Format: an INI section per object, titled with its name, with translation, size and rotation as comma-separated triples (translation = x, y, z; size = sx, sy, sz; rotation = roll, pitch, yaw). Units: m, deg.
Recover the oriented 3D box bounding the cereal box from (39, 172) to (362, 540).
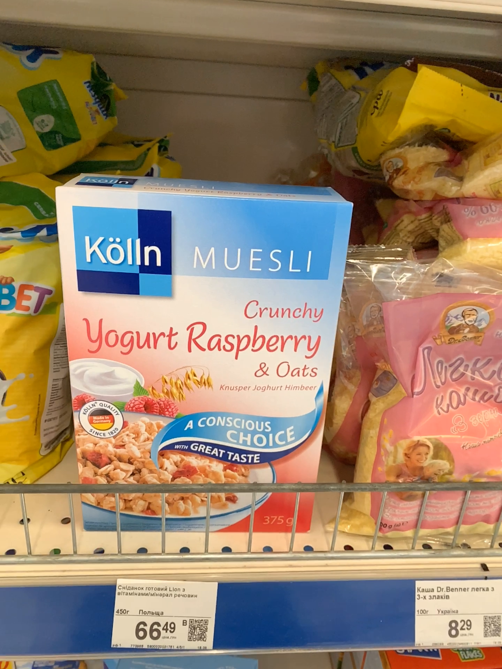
[cereal box]
translation = -0.029, 0.019, 0.311
size = 0.150, 0.208, 0.060
rotation = 2, 23, -4
